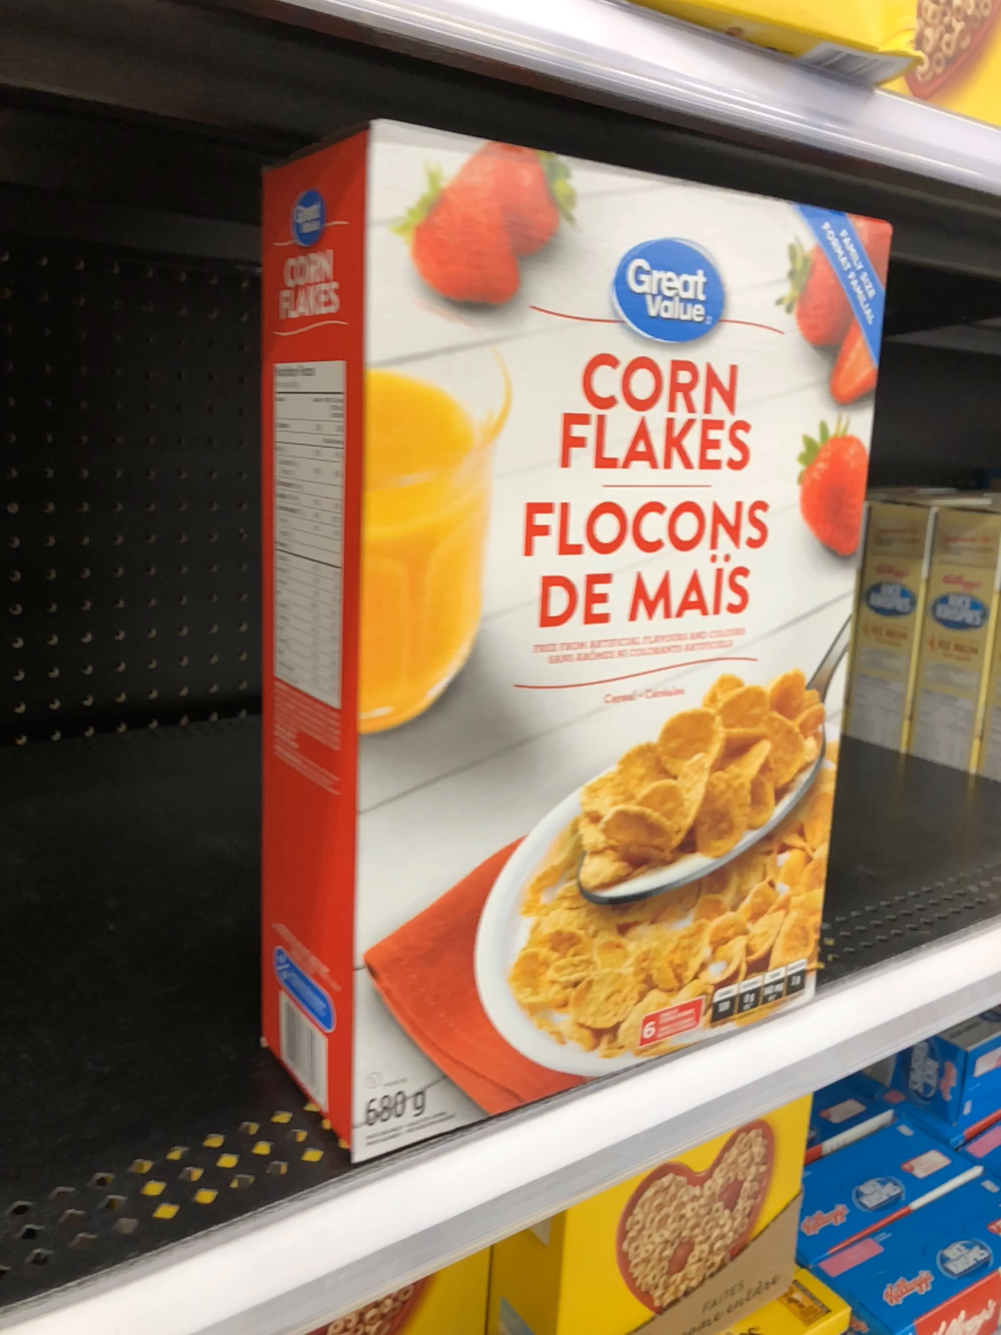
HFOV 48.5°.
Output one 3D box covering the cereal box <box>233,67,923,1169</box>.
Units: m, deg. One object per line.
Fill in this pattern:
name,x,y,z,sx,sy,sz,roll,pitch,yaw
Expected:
cereal box,0.029,-0.018,0.429,0.240,0.329,0.090,-5,14,-33
